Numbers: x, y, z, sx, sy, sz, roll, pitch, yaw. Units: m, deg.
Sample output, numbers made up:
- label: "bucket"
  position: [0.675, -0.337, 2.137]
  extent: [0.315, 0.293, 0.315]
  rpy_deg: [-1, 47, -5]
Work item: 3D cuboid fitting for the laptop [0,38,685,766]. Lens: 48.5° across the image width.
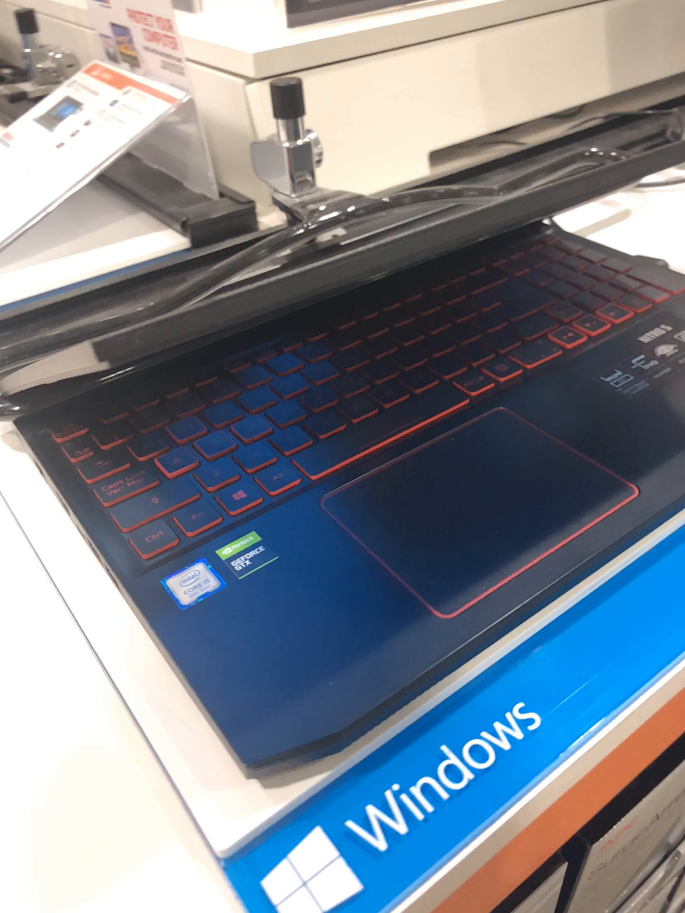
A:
- label: "laptop"
  position: [0.042, -0.078, 0.334]
  extent: [0.344, 0.121, 0.219]
  rpy_deg: [-26, 44, -27]
